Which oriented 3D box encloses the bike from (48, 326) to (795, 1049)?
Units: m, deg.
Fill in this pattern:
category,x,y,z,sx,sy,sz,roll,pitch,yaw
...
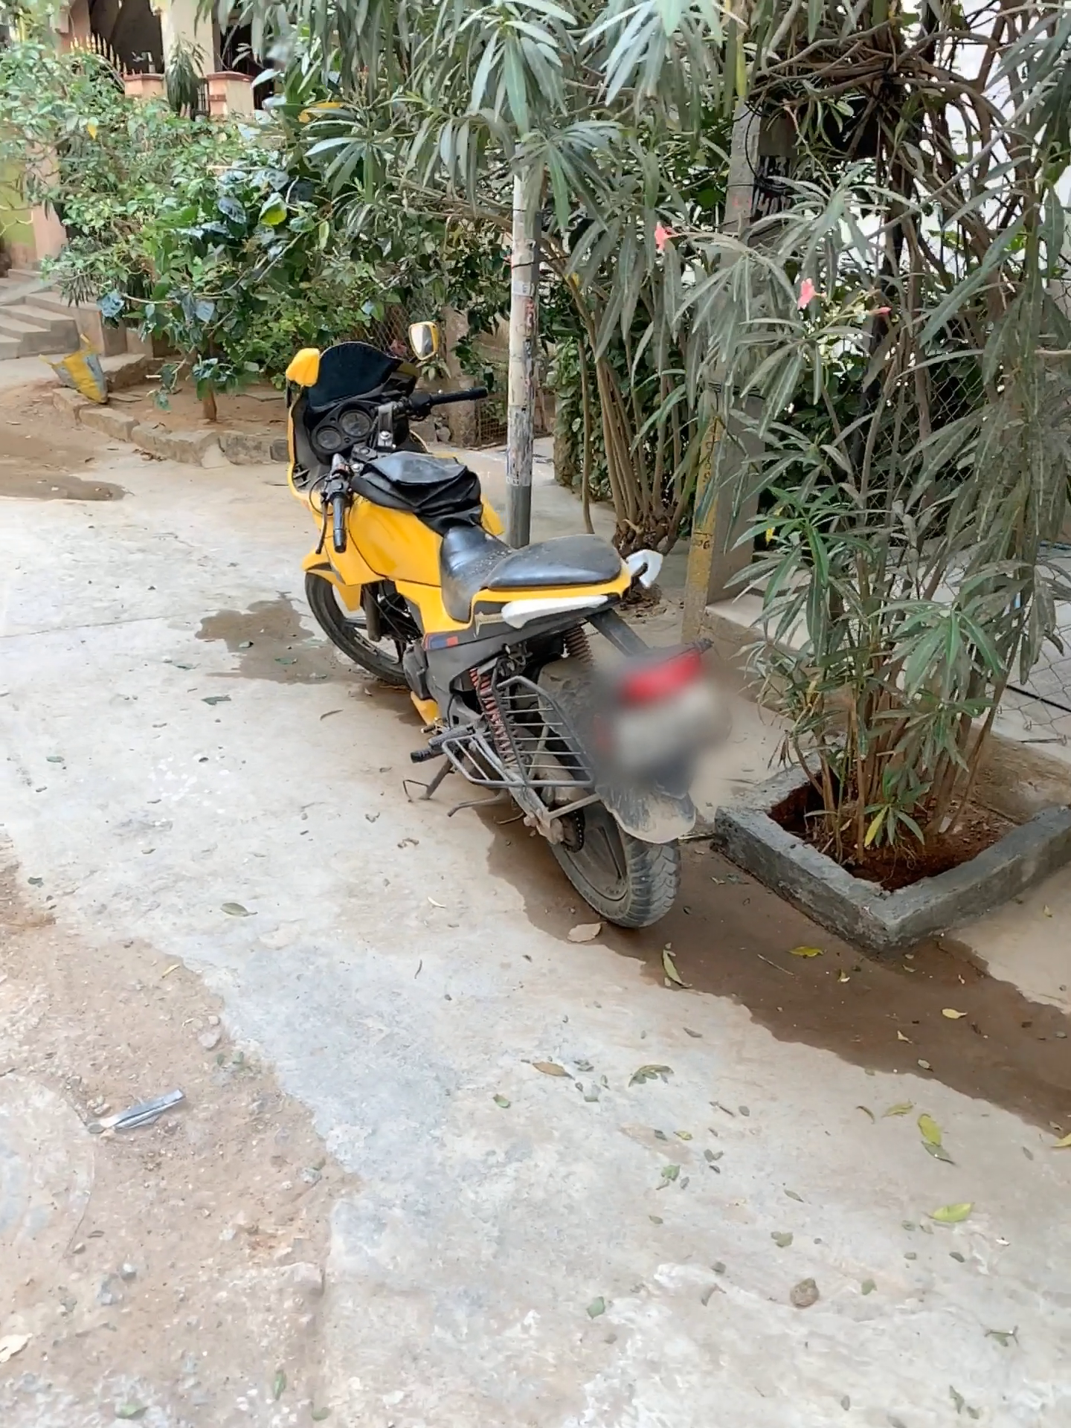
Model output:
category,x,y,z,sx,sy,sz,roll,pitch,yaw
bike,-0.423,-0.263,2.627,0.853,0.954,1.753,-13,33,-31
